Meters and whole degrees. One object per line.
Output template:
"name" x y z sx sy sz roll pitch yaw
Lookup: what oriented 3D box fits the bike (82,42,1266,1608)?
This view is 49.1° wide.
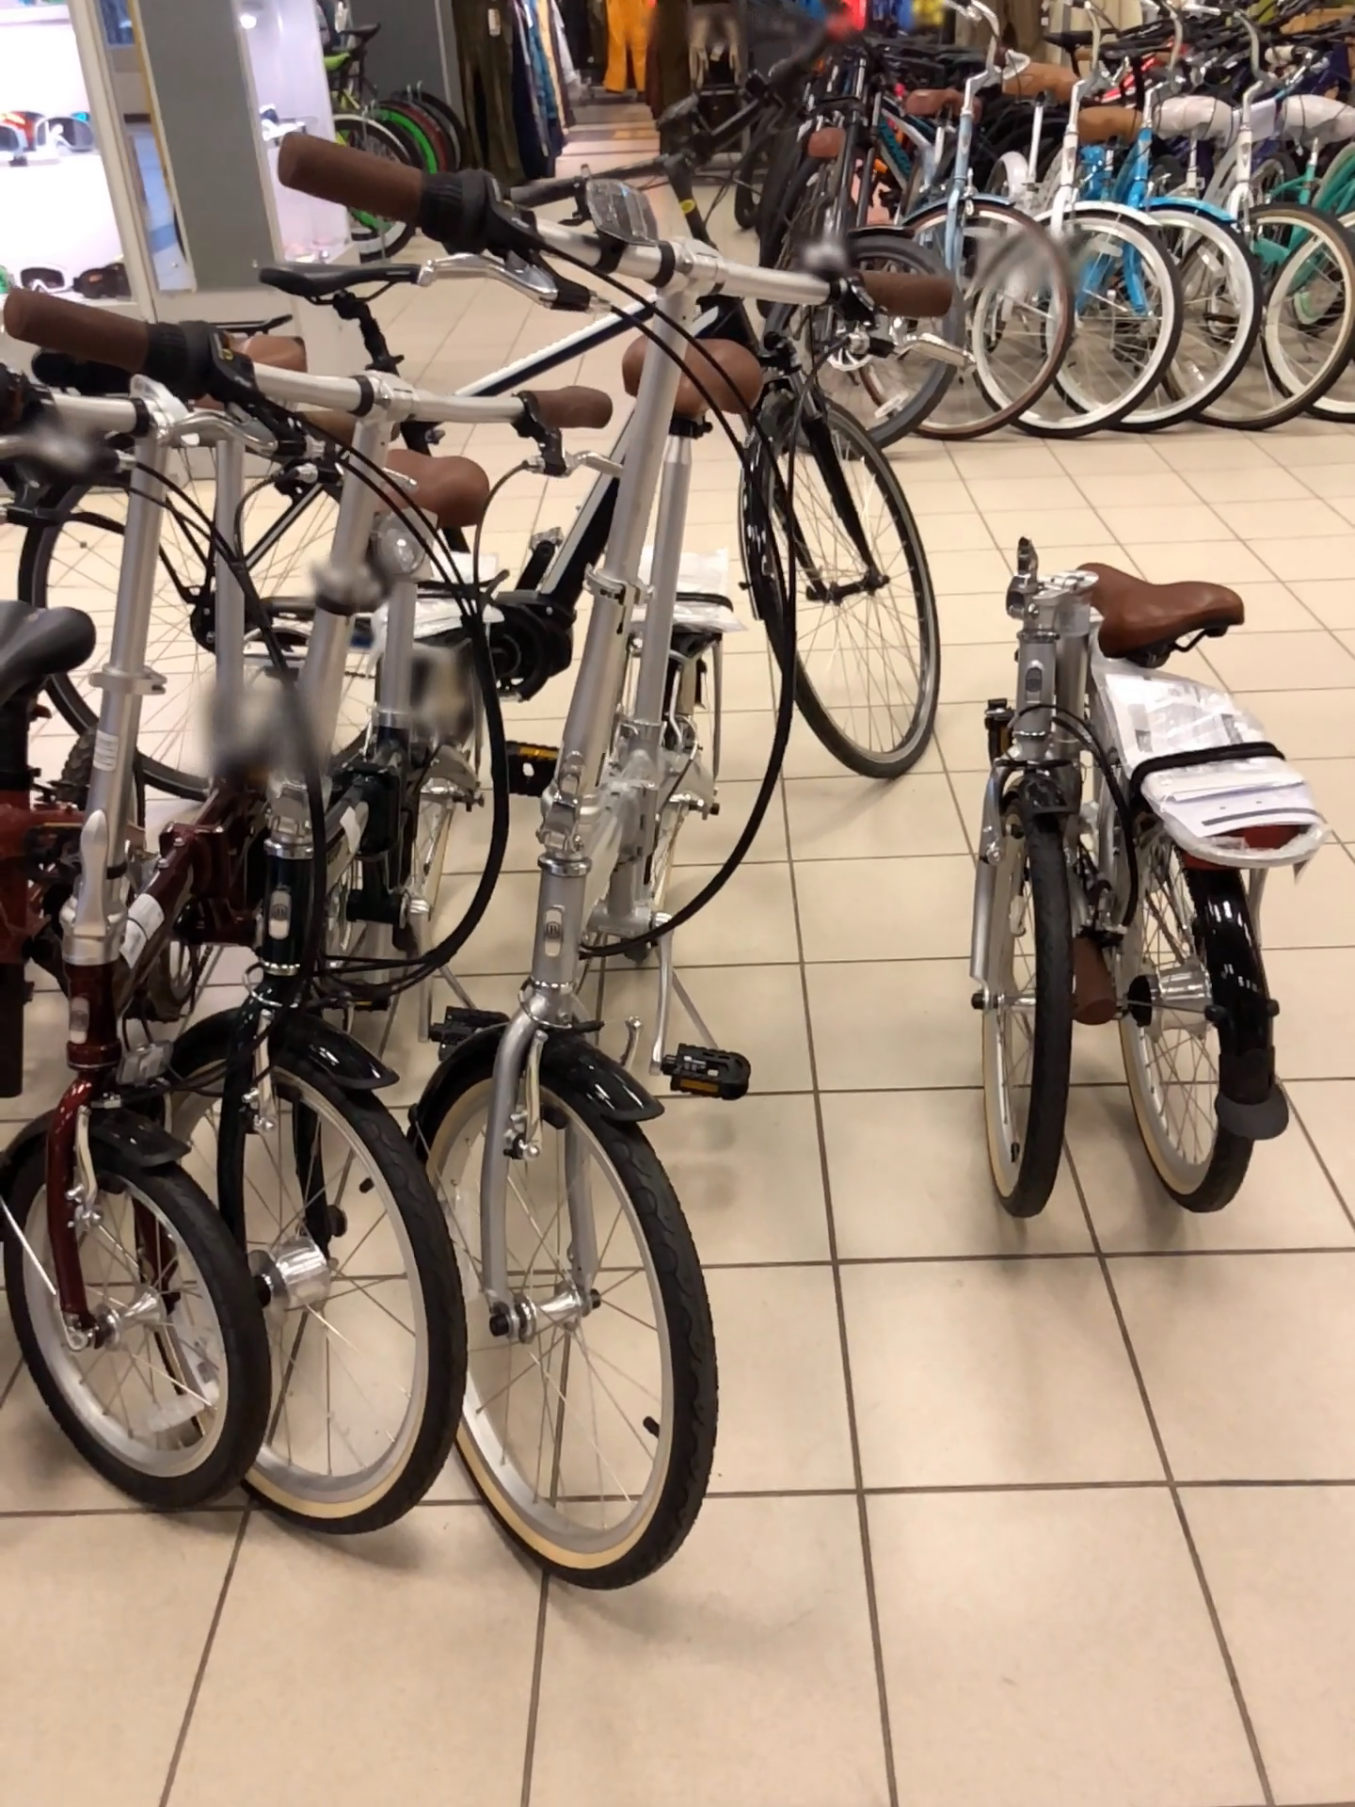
"bike" 0.031 -0.230 1.578 0.552 1.153 1.366 -2 30 2

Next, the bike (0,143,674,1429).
"bike" -0.318 -0.245 1.769 0.556 1.036 1.146 -4 32 -1
